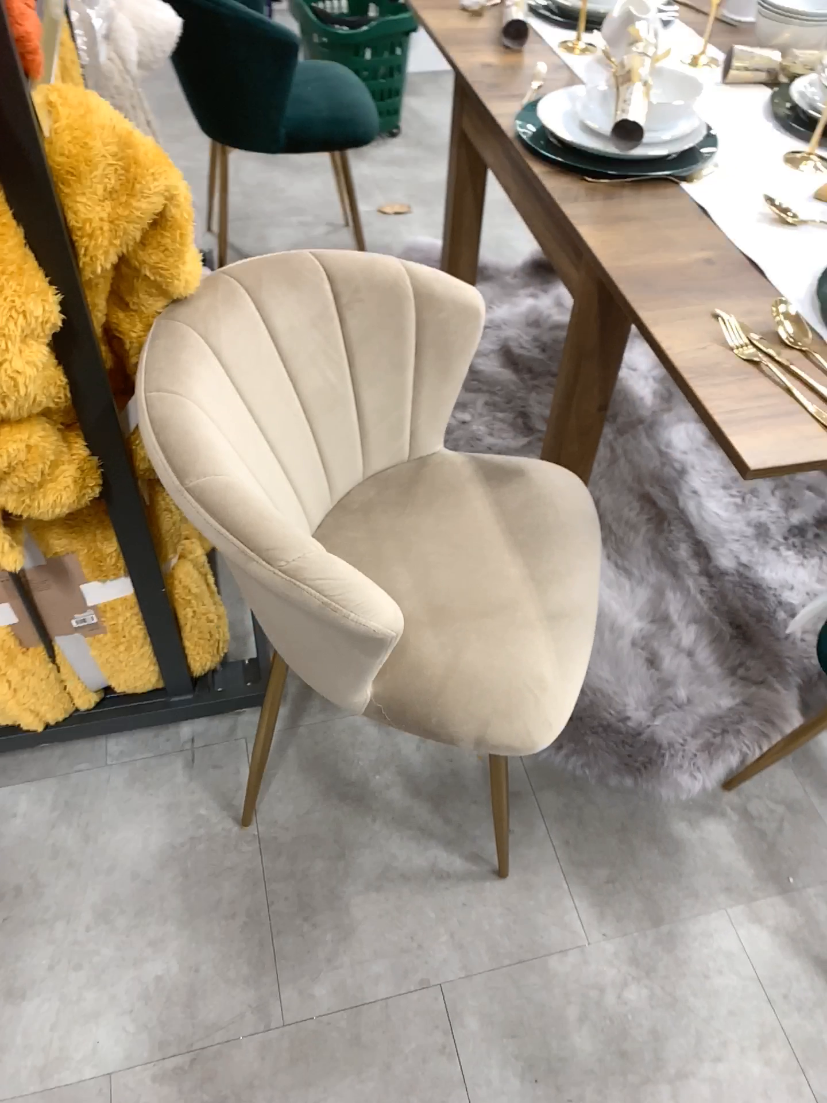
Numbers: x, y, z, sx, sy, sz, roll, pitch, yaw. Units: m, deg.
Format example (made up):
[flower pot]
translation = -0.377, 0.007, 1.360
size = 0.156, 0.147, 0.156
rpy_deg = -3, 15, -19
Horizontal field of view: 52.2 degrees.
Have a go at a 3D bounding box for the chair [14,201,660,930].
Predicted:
[chair]
translation = -0.033, 0.040, 1.142
size = 0.535, 0.722, 0.565
rpy_deg = 11, 48, 7
